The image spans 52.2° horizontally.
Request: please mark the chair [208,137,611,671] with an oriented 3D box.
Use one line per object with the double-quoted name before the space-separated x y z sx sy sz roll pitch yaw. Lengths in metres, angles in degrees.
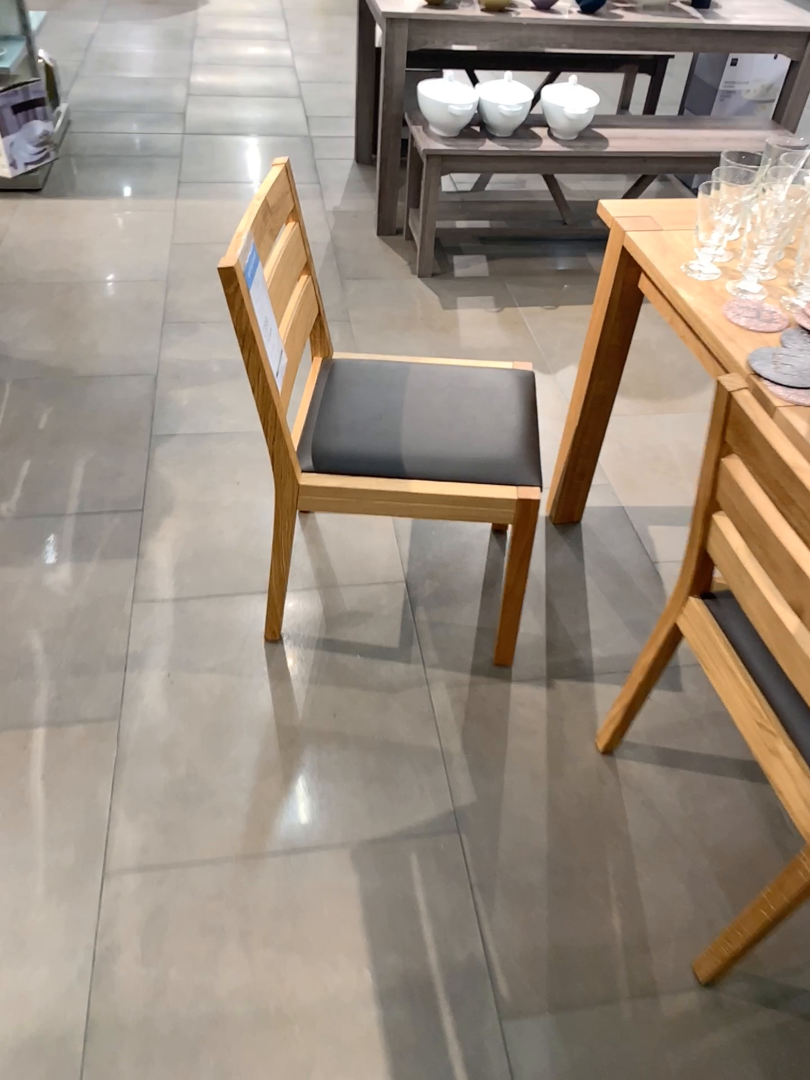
"chair" 0.000 -0.249 1.634 0.563 0.815 0.568 5 42 1
